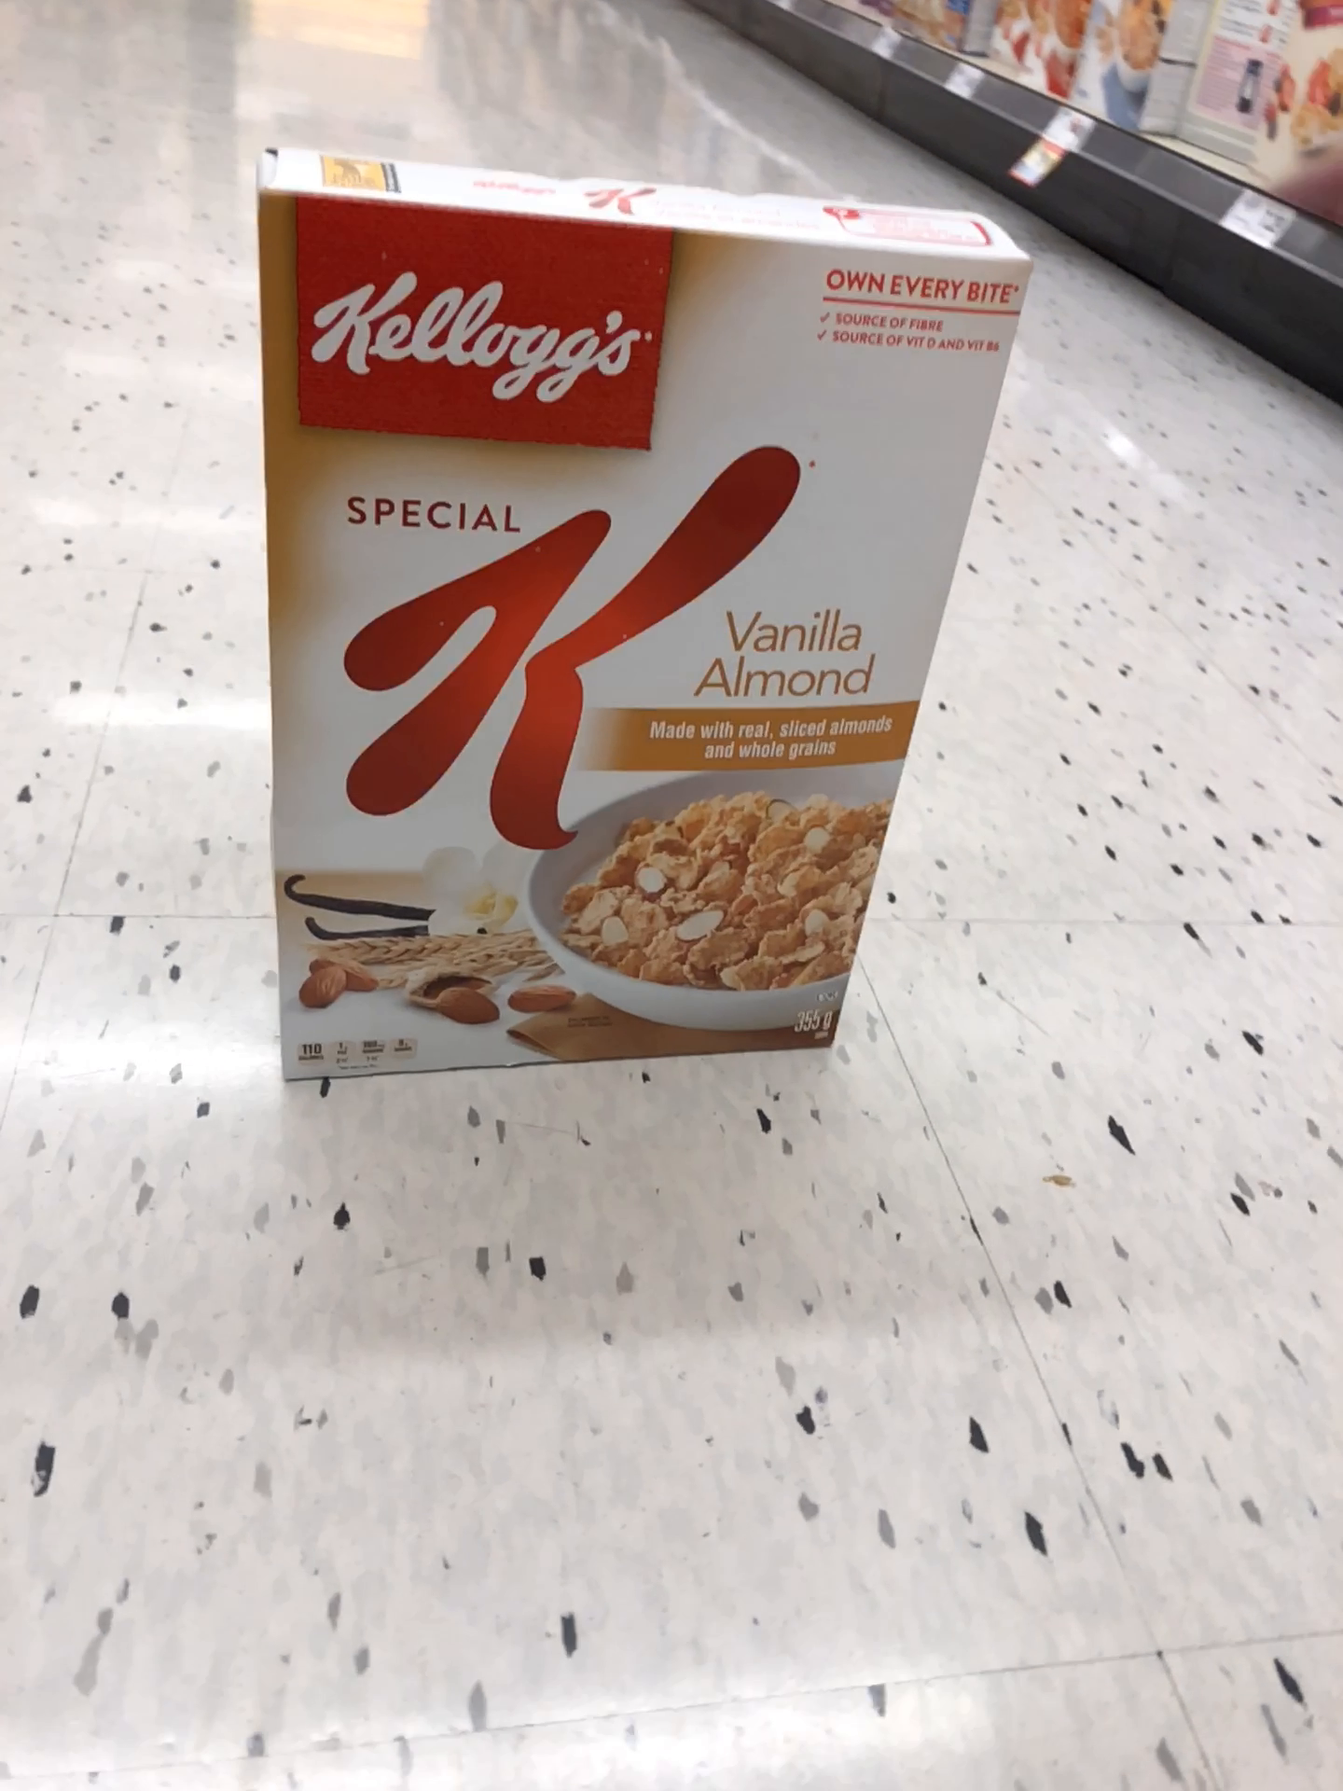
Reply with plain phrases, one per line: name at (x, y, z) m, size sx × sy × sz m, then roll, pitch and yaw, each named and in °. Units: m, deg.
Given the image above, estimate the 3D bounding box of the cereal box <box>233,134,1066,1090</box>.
cereal box at (-0.021, -0.064, 0.433) m, size 0.200 × 0.258 × 0.050 m, roll -1°, pitch 34°, yaw -16°
